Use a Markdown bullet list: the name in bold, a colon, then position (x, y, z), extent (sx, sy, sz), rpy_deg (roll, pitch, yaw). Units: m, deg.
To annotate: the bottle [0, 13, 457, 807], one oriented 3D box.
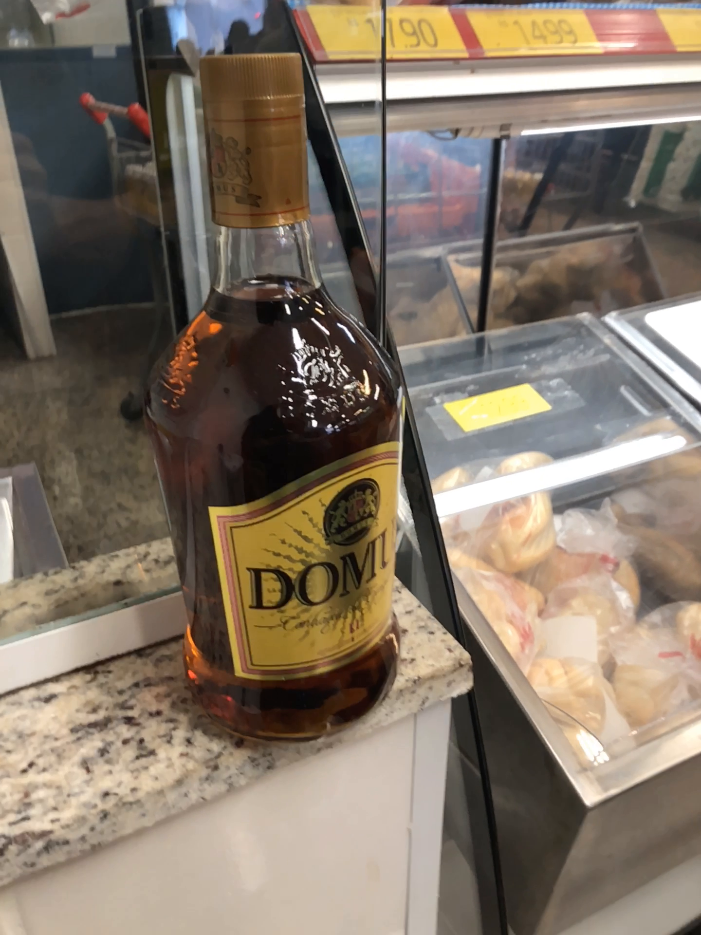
- **bottle**: position (-0.040, -0.022, 0.297), extent (0.100, 0.258, 0.110), rpy_deg (-25, 36, -37)
